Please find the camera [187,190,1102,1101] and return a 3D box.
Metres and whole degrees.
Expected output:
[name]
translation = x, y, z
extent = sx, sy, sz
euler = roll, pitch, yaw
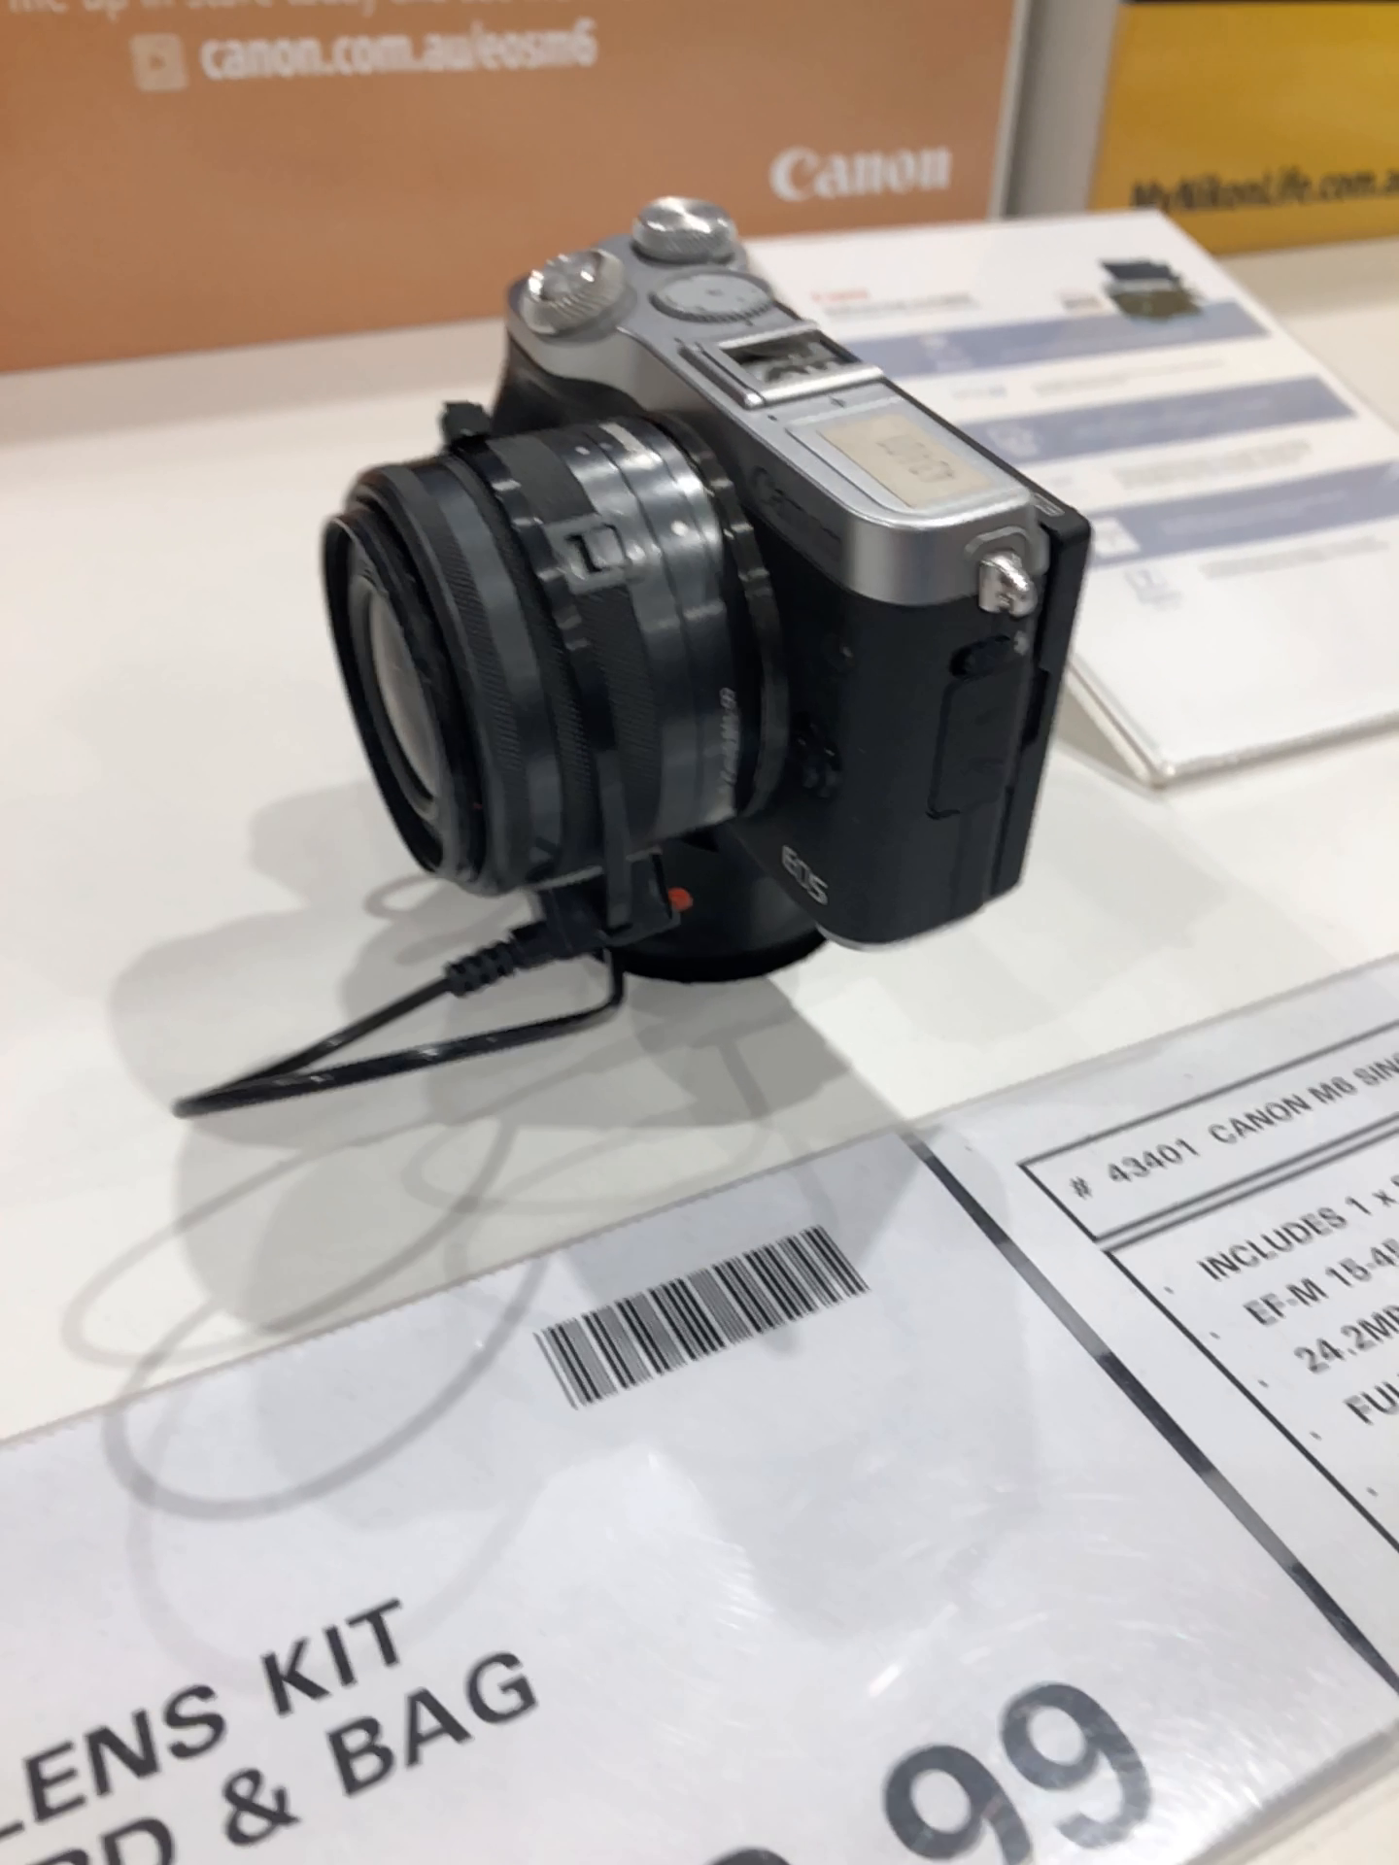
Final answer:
[camera]
translation = -0.013, -0.049, 0.228
extent = 0.083, 0.075, 0.103
euler = -18, 44, -20
